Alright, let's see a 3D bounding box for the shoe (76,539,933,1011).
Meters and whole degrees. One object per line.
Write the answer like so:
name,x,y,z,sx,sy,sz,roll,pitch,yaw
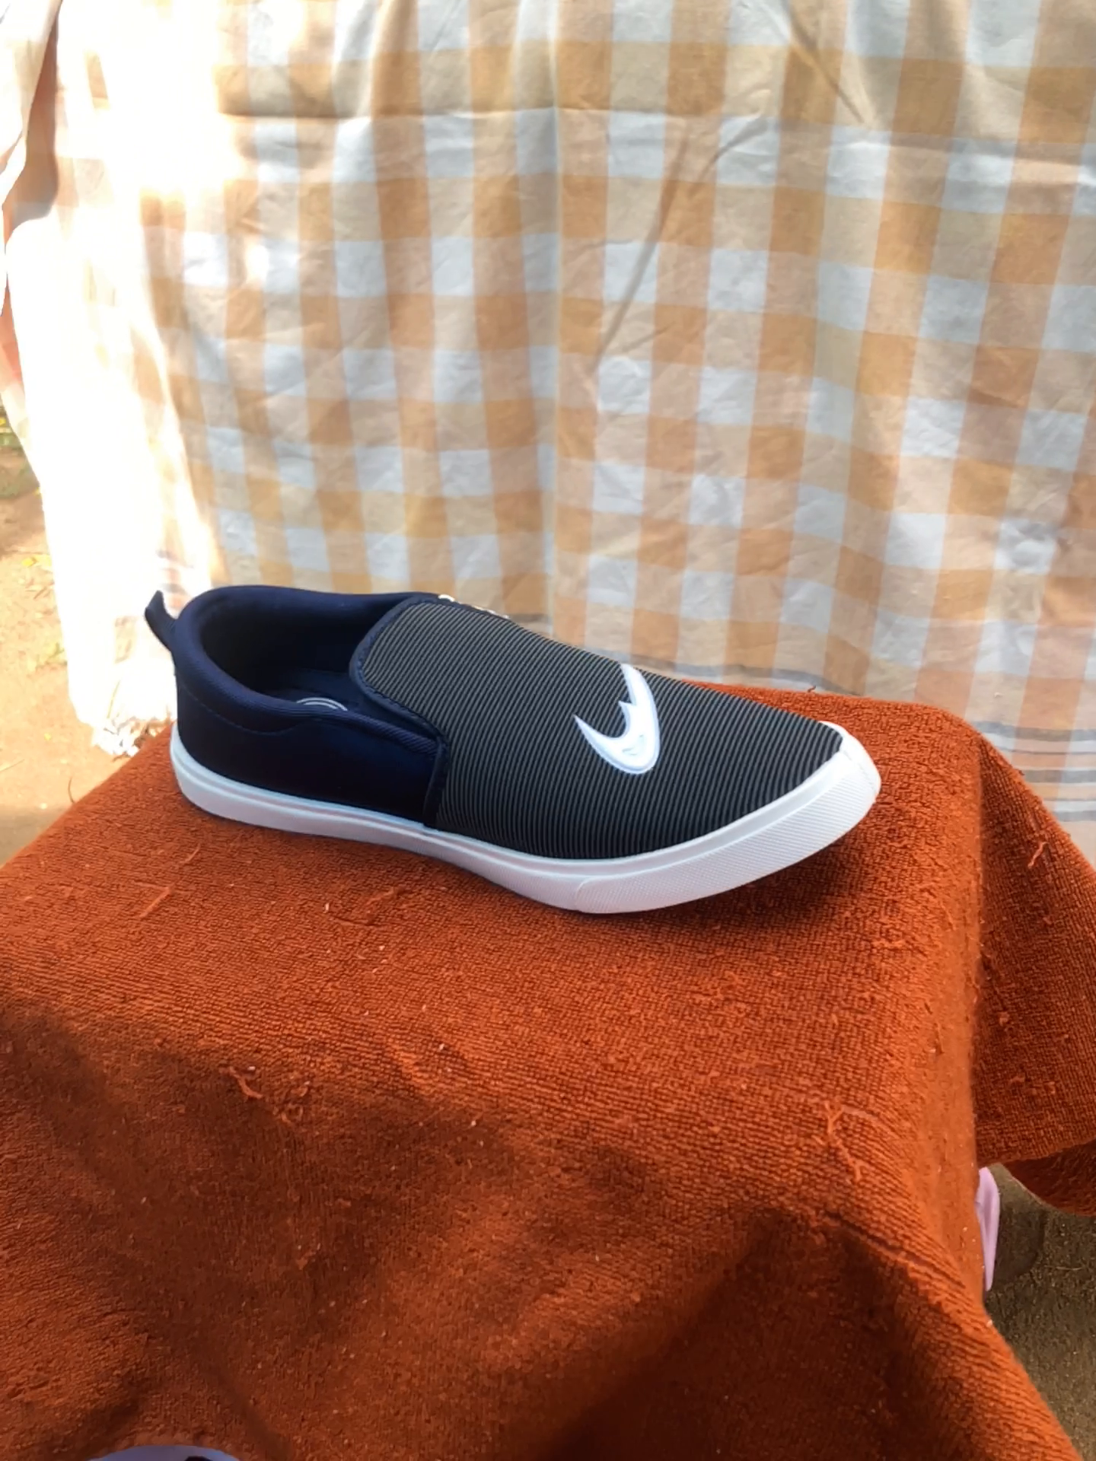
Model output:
shoe,-0.022,0.002,0.461,0.300,0.080,0.101,12,34,24
